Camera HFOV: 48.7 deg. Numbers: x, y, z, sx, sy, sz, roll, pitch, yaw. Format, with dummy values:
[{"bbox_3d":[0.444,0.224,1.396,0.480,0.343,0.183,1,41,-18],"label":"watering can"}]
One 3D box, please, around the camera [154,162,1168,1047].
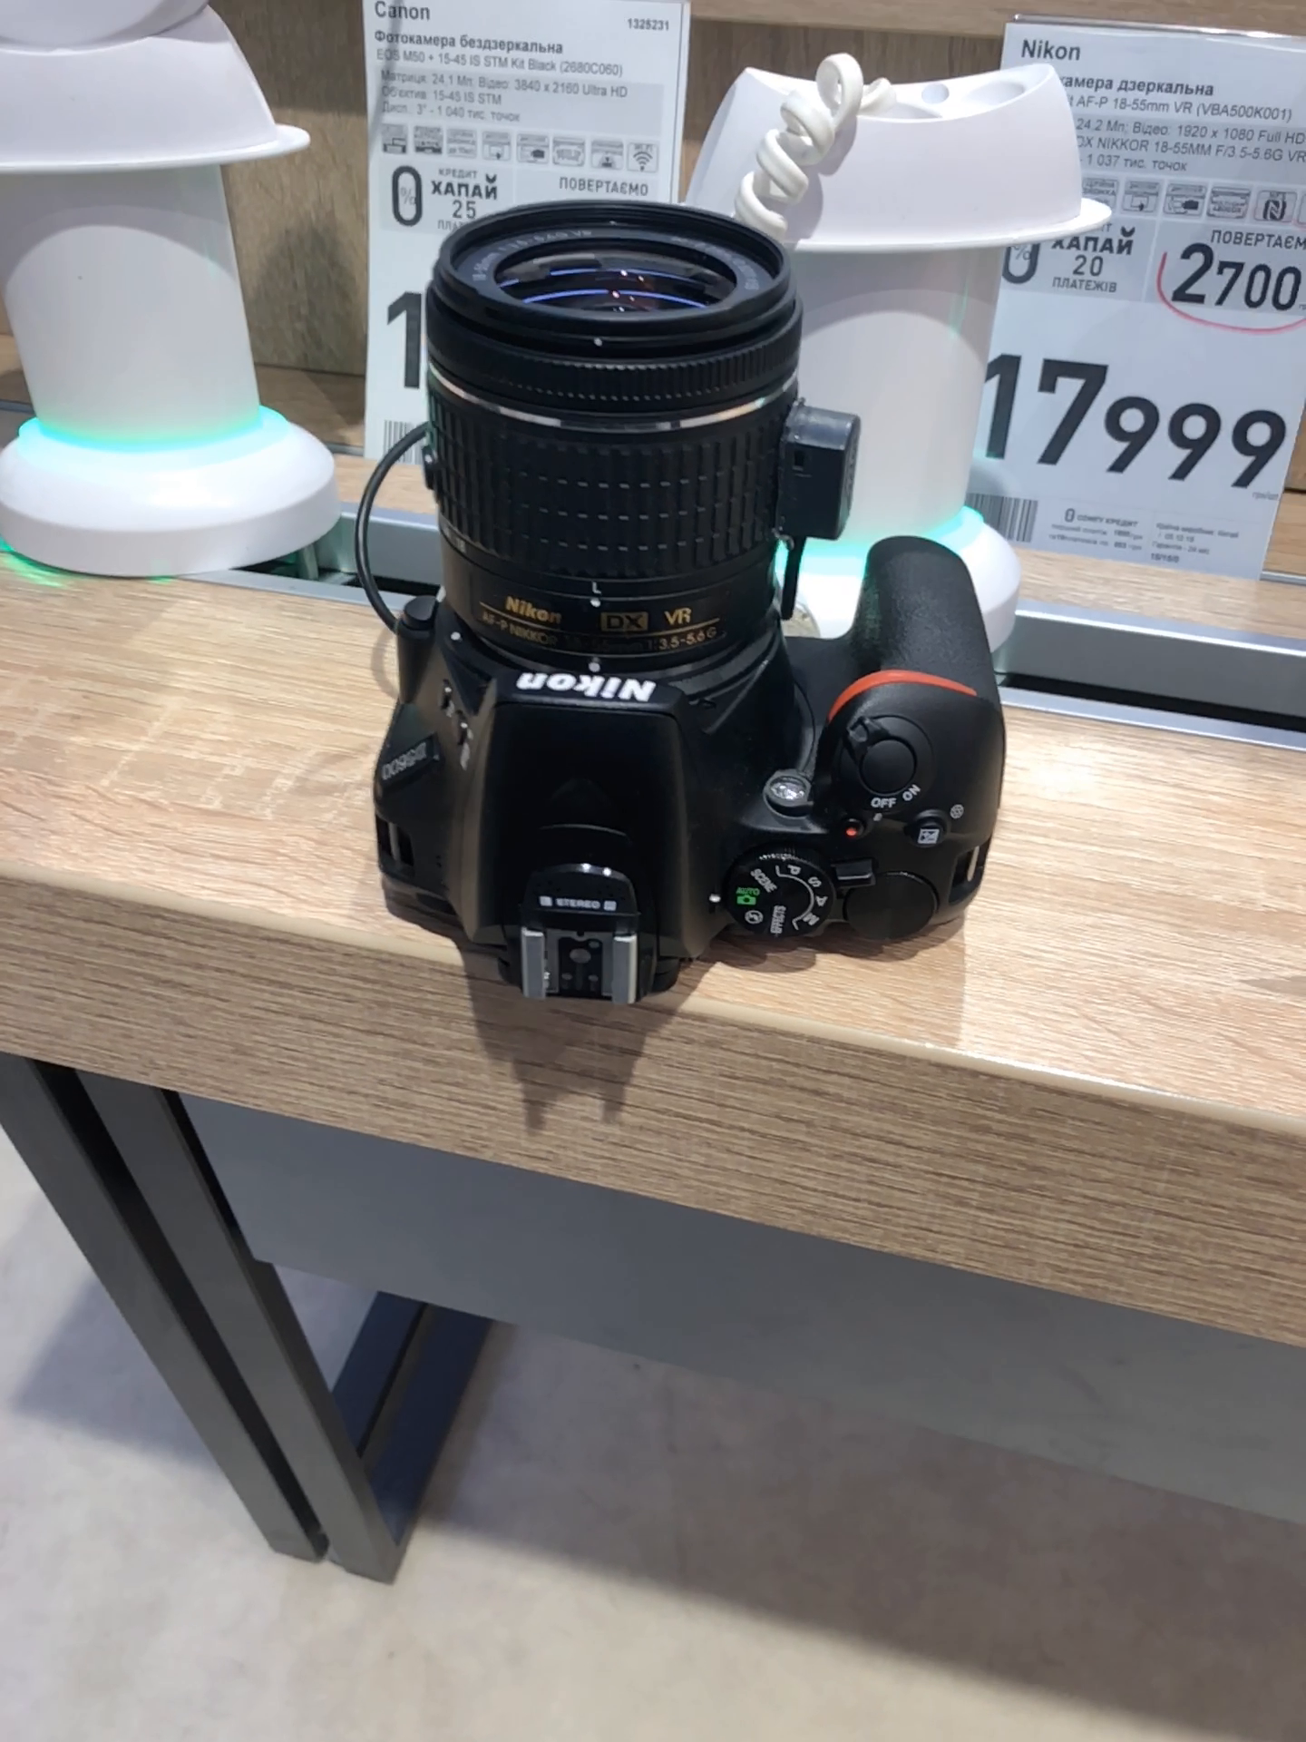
[{"bbox_3d":[0.002,-0.051,0.270,0.132,0.117,0.116,1,42,1],"label":"camera"}]
